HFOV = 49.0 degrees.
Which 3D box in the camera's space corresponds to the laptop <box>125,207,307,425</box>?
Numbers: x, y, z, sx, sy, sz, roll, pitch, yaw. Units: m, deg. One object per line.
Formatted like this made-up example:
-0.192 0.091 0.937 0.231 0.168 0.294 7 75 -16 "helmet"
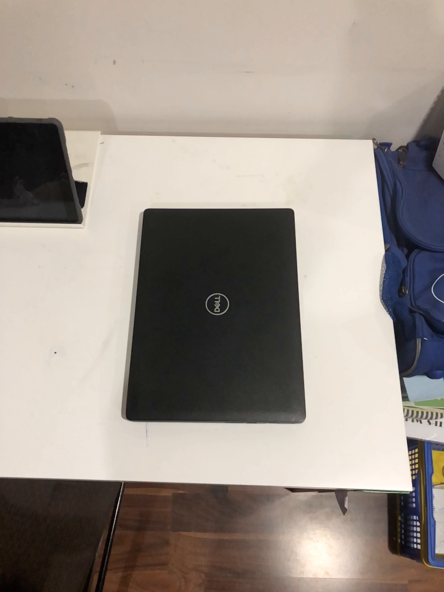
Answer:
-0.007 0.015 0.713 0.241 0.010 0.333 0 67 3 "laptop"
